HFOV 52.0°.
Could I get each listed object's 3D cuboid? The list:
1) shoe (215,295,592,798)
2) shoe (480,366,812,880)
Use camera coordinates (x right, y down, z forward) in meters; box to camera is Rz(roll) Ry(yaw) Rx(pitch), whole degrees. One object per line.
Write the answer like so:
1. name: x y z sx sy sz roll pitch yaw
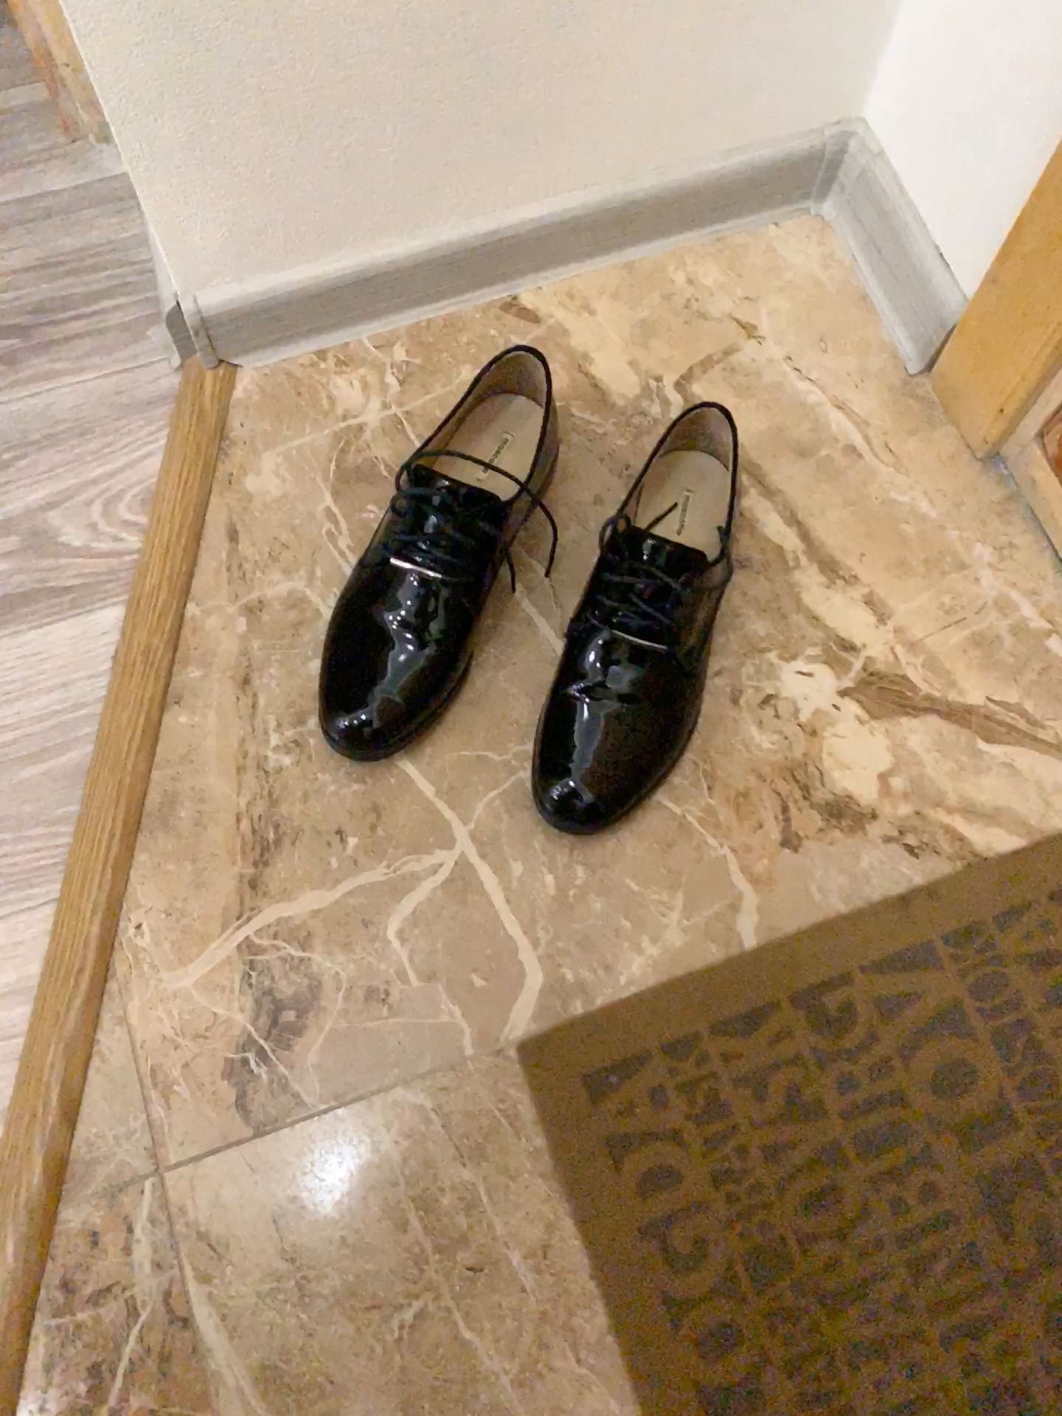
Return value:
1. shoe: -0.058 -0.085 0.584 0.086 0.110 0.230 25 71 8
2. shoe: 0.059 -0.043 0.574 0.090 0.110 0.230 20 70 6
